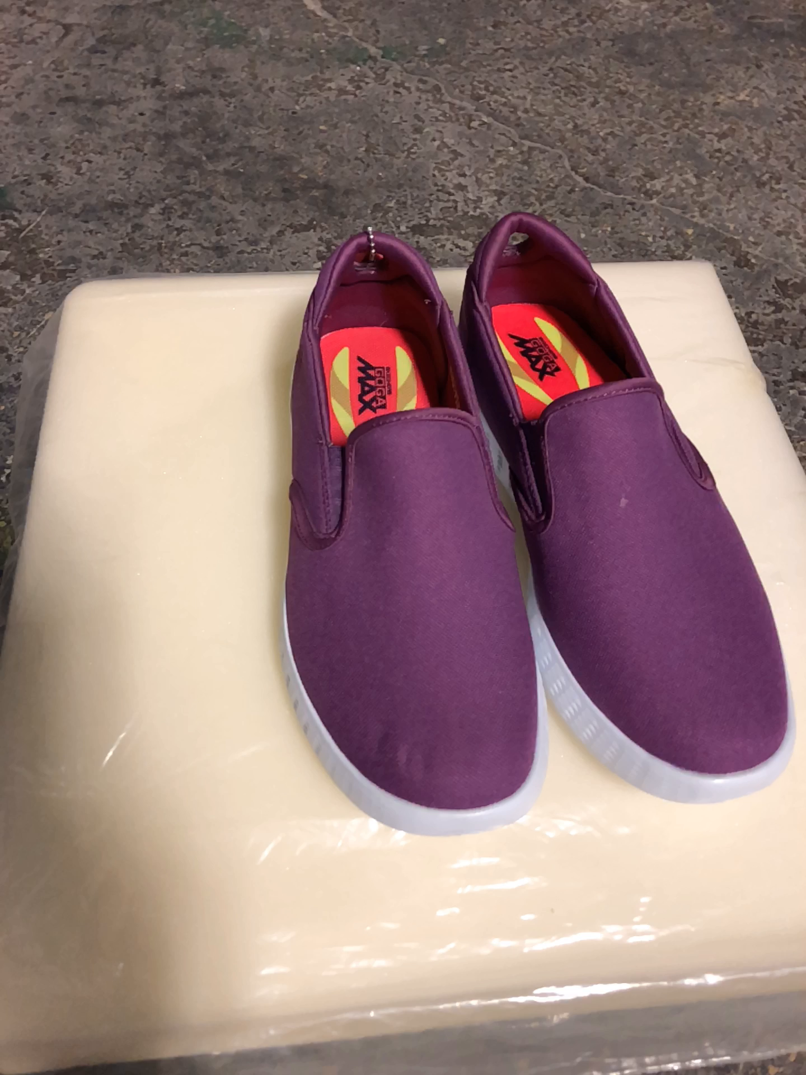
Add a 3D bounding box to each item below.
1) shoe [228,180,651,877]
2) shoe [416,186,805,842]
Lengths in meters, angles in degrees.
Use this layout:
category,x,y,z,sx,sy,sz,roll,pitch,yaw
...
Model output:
category,x,y,z,sx,sy,sz,roll,pitch,yaw
shoe,-0.005,-0.021,0.349,0.100,0.089,0.262,-7,55,-8
shoe,0.086,-0.024,0.351,0.100,0.089,0.241,-10,56,-10
